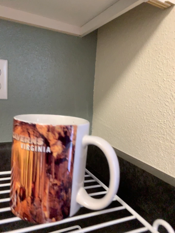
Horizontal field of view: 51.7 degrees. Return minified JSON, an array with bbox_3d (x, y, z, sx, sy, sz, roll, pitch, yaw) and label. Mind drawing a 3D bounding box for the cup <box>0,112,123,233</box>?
[{"bbox_3d":[-0.037,0.047,0.192,0.120,0.090,0.080,7,7,28],"label":"cup"}]
